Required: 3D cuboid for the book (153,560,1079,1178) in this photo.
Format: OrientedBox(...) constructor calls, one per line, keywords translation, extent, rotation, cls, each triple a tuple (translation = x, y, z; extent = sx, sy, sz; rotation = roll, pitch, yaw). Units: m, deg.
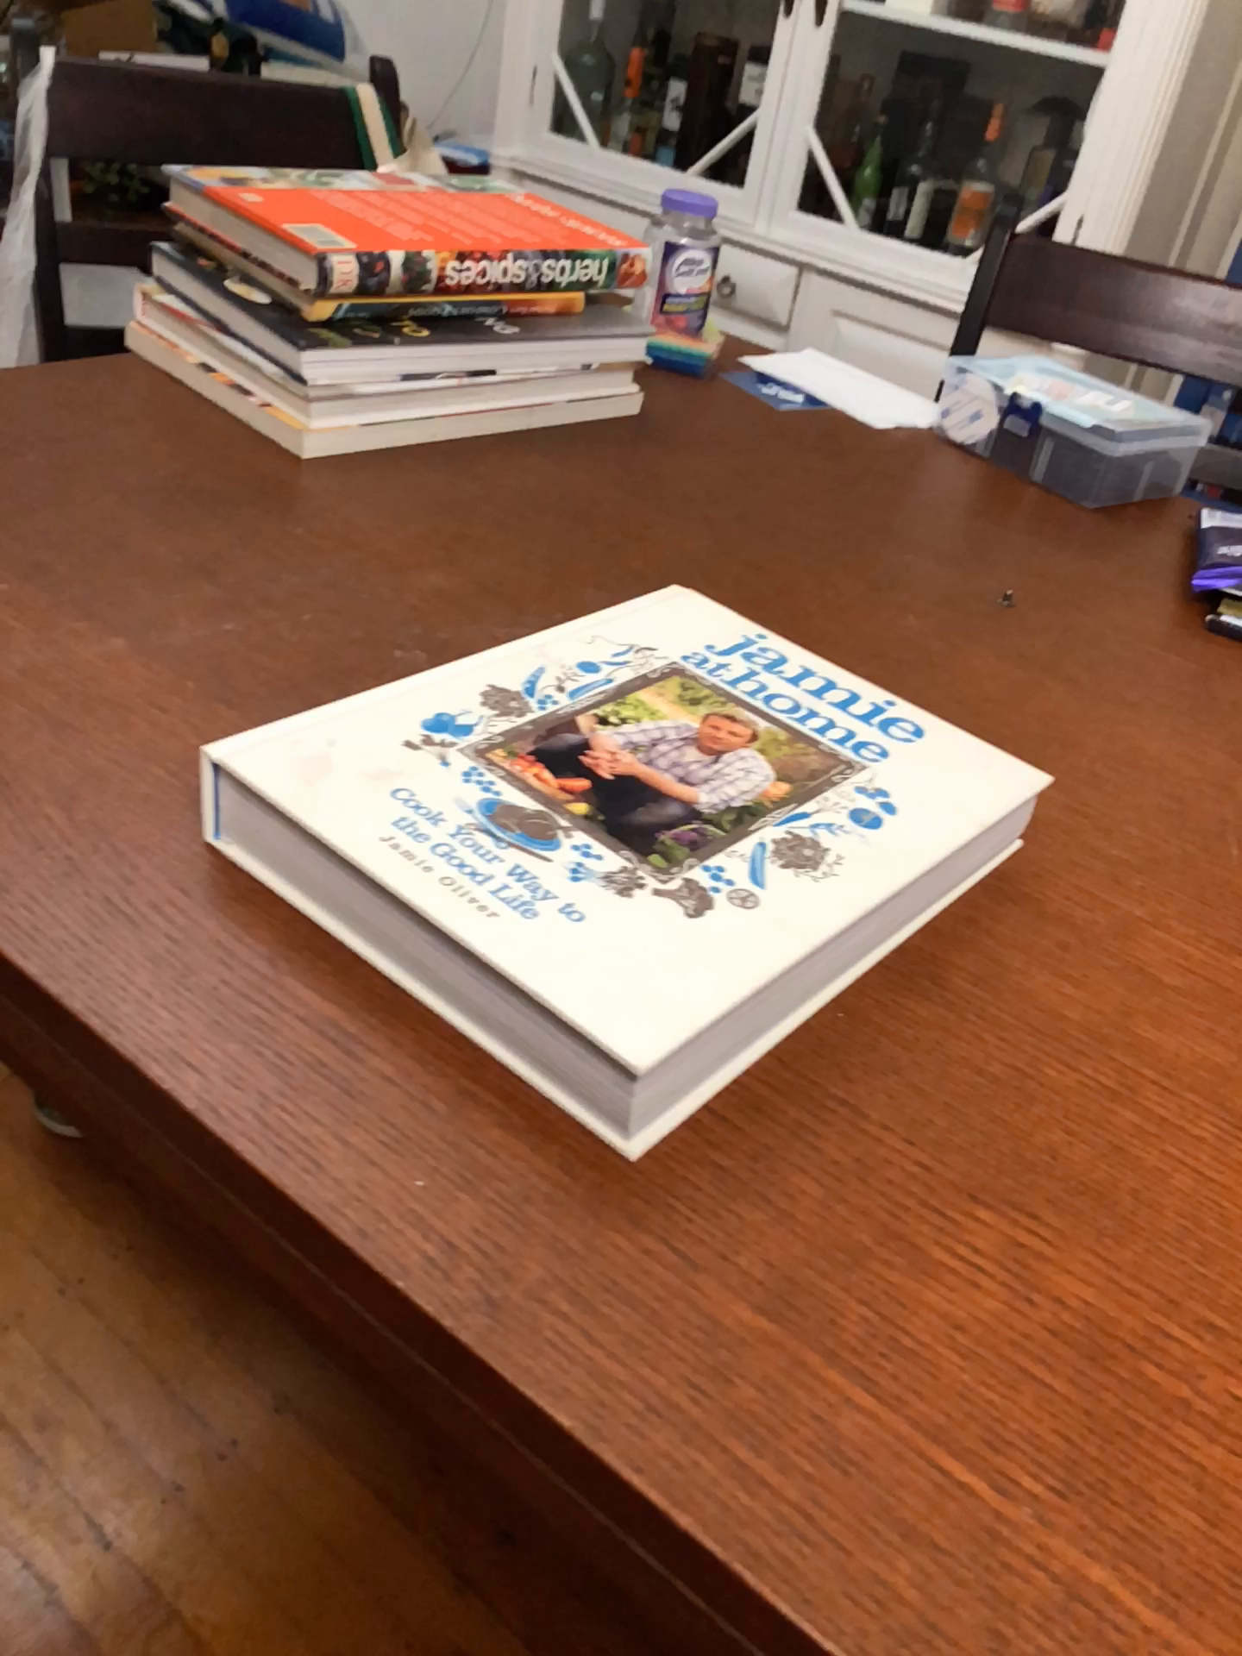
OrientedBox(translation=(0.008, -0.015, 0.492), extent=(0.210, 0.040, 0.261), rotation=(32, 38, 29), cls="book")
